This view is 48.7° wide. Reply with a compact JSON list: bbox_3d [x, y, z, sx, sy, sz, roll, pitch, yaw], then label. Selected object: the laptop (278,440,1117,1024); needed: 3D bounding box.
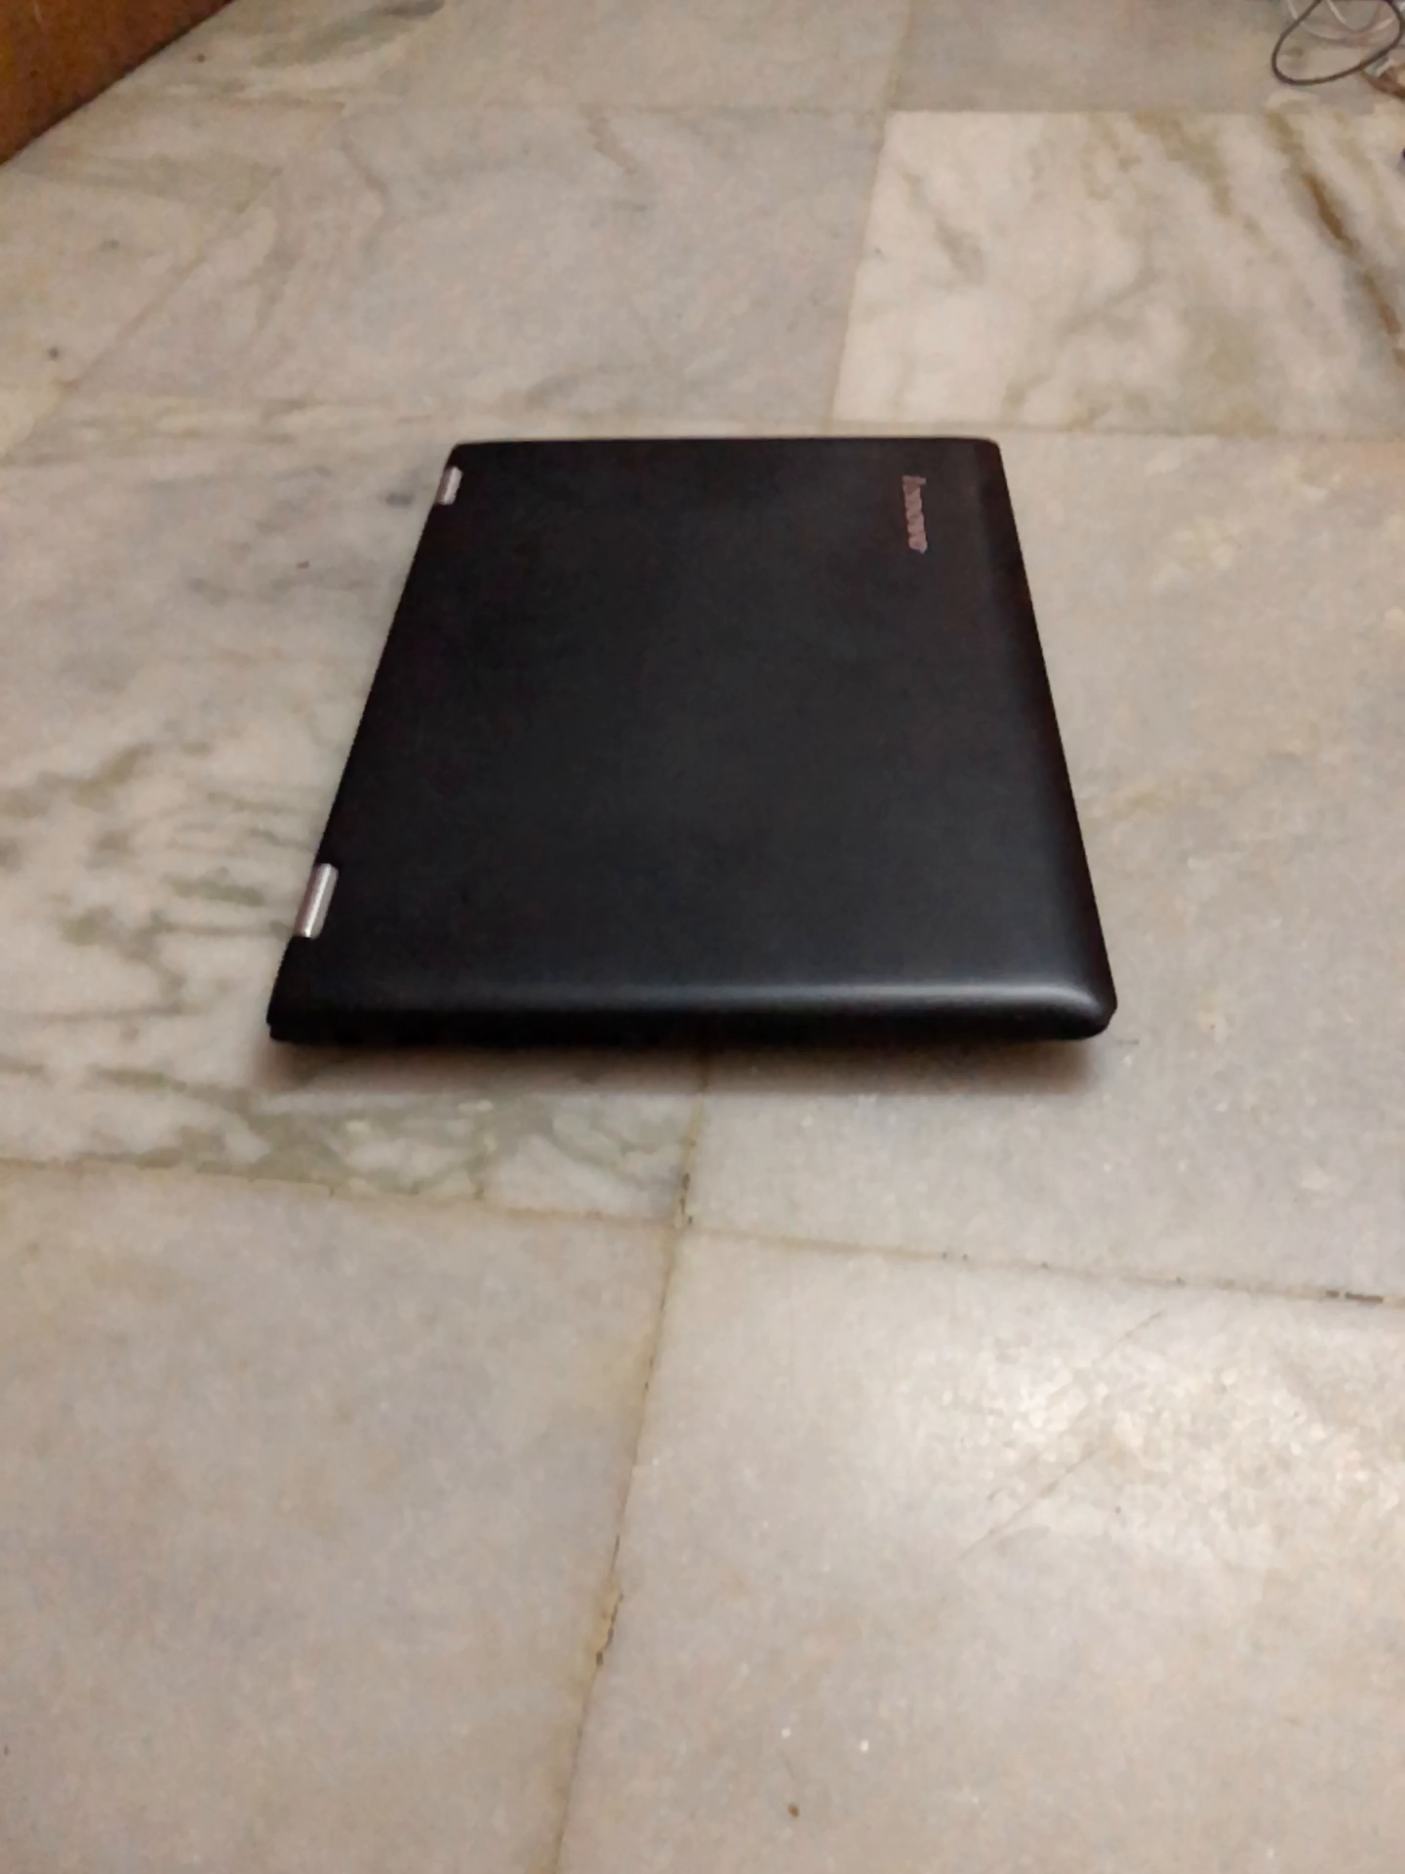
[{"bbox_3d":[0.004,-0.093,0.531,0.222,0.002,0.330,1,44,2],"label":"laptop"}]
